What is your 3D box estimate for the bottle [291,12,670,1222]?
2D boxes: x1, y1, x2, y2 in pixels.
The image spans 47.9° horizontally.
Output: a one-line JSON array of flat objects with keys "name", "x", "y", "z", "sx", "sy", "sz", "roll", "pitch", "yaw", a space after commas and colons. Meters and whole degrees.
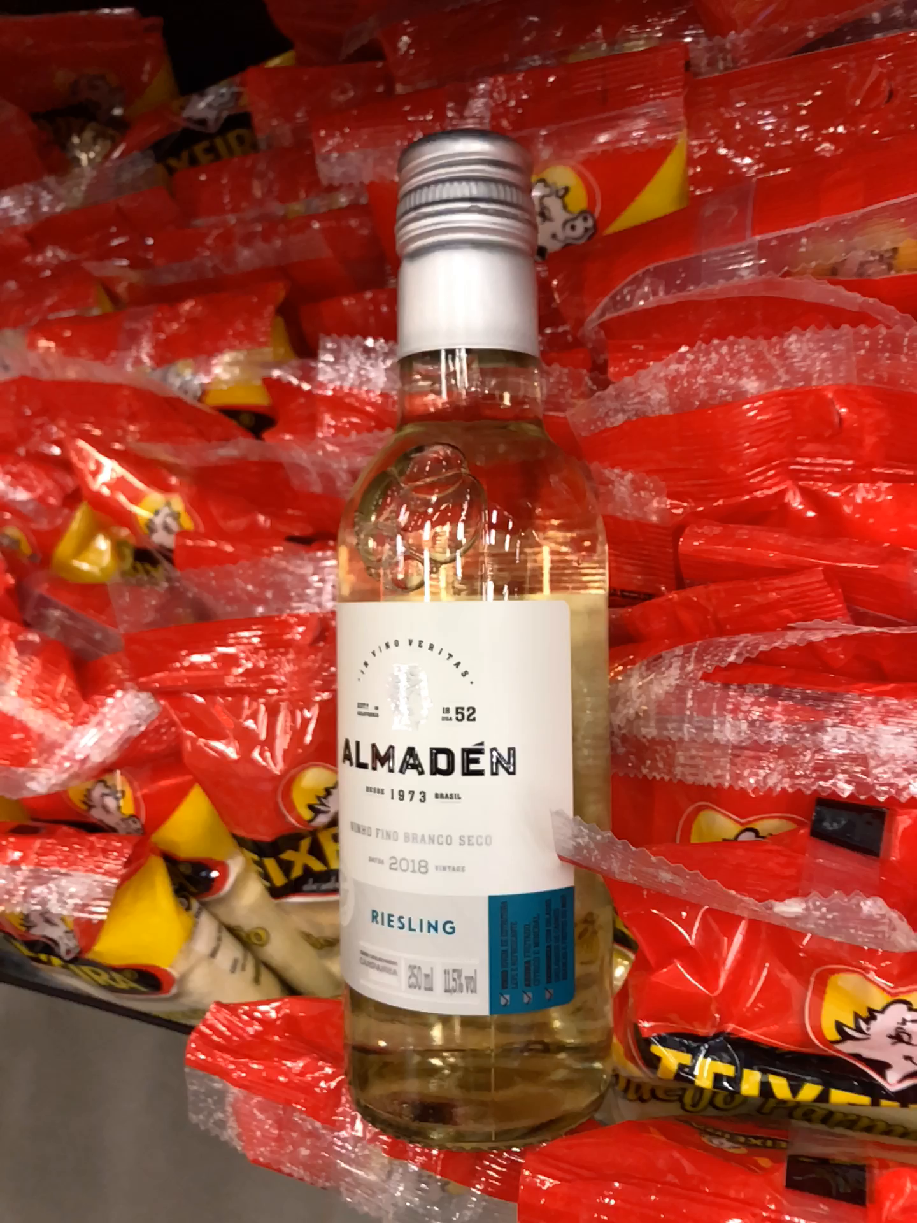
[{"name": "bottle", "x": 0.006, "y": -0.001, "z": 0.211, "sx": 0.060, "sy": 0.040, "sz": 0.210, "roll": 0, "pitch": 87, "yaw": 29}]
